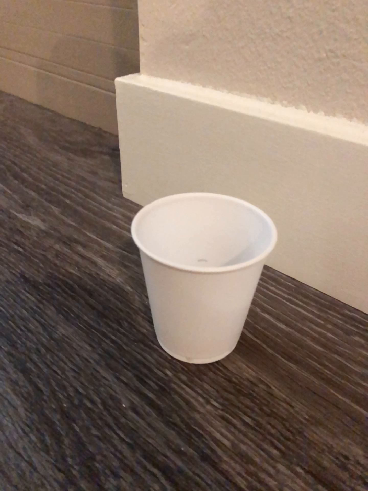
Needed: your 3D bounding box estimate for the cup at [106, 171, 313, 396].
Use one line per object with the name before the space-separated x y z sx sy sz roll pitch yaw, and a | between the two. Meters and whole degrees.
cup | 0.007 0.012 0.179 0.060 0.060 0.060 1 34 -1
